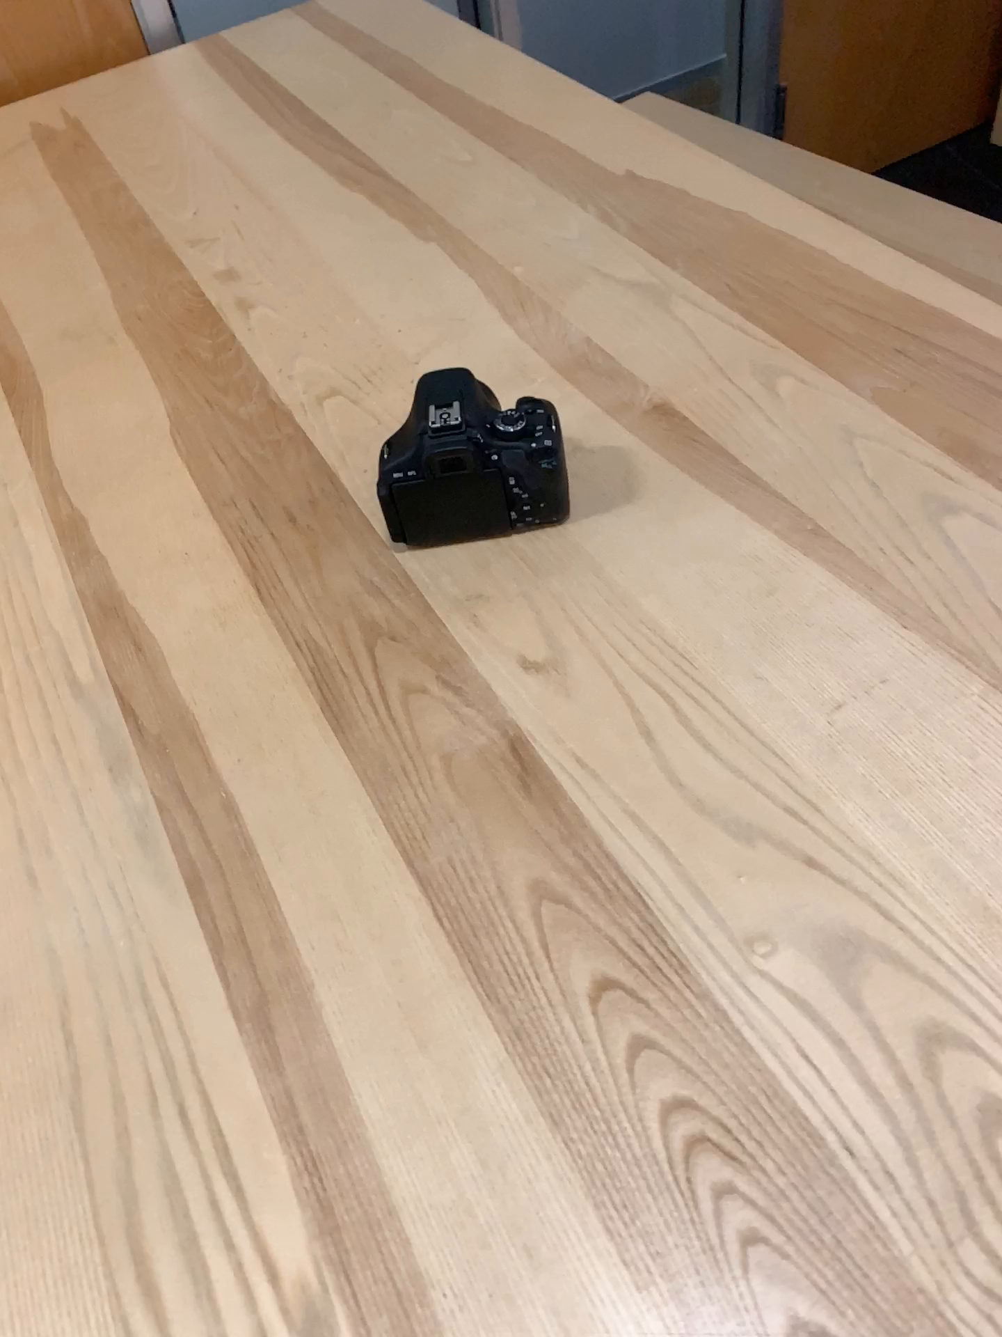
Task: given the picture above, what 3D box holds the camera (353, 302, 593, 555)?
[{"bbox_3d":[-0.019,-0.167,0.716,0.145,0.100,0.121,-9,48,3],"label":"camera"}]
